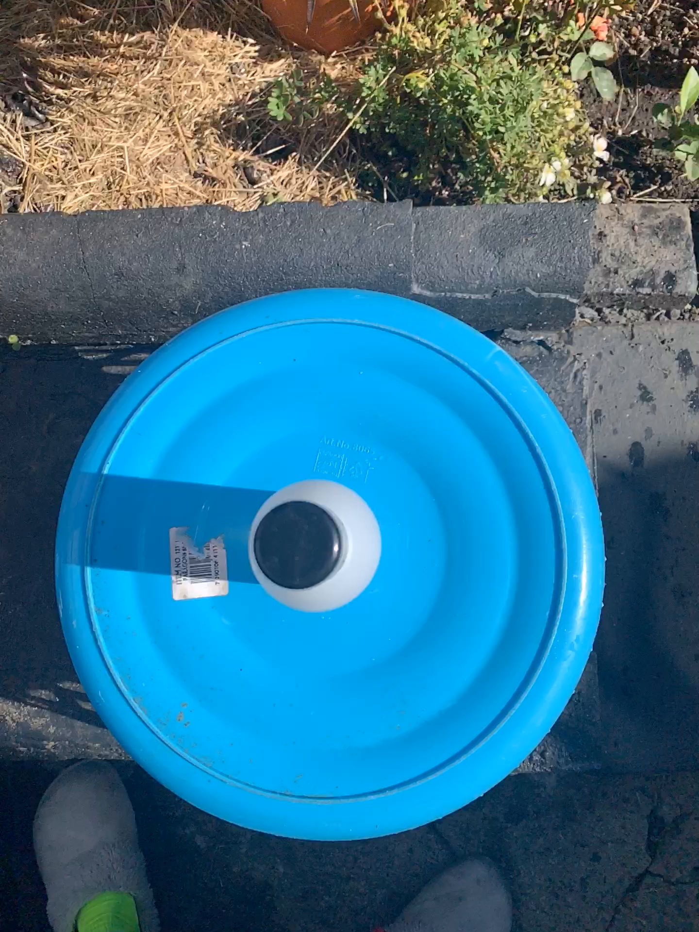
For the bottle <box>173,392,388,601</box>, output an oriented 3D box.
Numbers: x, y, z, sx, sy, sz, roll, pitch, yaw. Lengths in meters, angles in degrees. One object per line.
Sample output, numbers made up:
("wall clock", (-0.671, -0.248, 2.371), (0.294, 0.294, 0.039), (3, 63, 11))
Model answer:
("bottle", (-0.016, 0.024, 0.304), (0.060, 0.180, 0.060), (-1, 80, 3))
